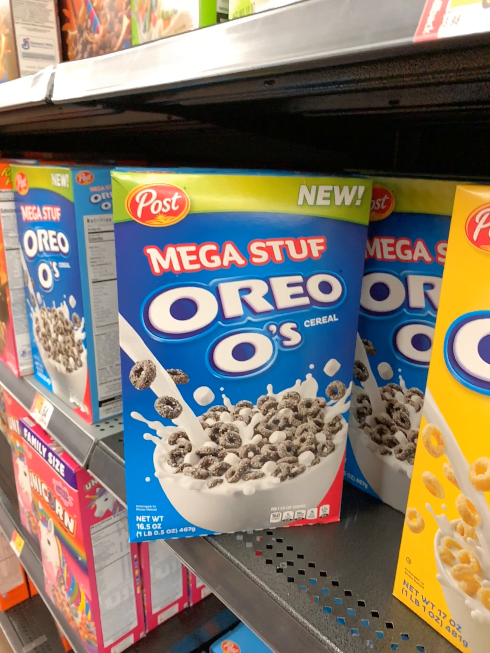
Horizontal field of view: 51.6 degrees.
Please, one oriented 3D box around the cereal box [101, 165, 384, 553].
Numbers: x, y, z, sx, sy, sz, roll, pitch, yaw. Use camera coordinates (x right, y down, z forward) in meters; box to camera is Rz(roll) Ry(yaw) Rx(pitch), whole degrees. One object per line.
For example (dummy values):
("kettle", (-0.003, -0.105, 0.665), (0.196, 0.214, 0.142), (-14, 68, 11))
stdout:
("cereal box", (-0.008, 0.029, 0.459), (0.210, 0.329, 0.080), (-2, 19, -11))
